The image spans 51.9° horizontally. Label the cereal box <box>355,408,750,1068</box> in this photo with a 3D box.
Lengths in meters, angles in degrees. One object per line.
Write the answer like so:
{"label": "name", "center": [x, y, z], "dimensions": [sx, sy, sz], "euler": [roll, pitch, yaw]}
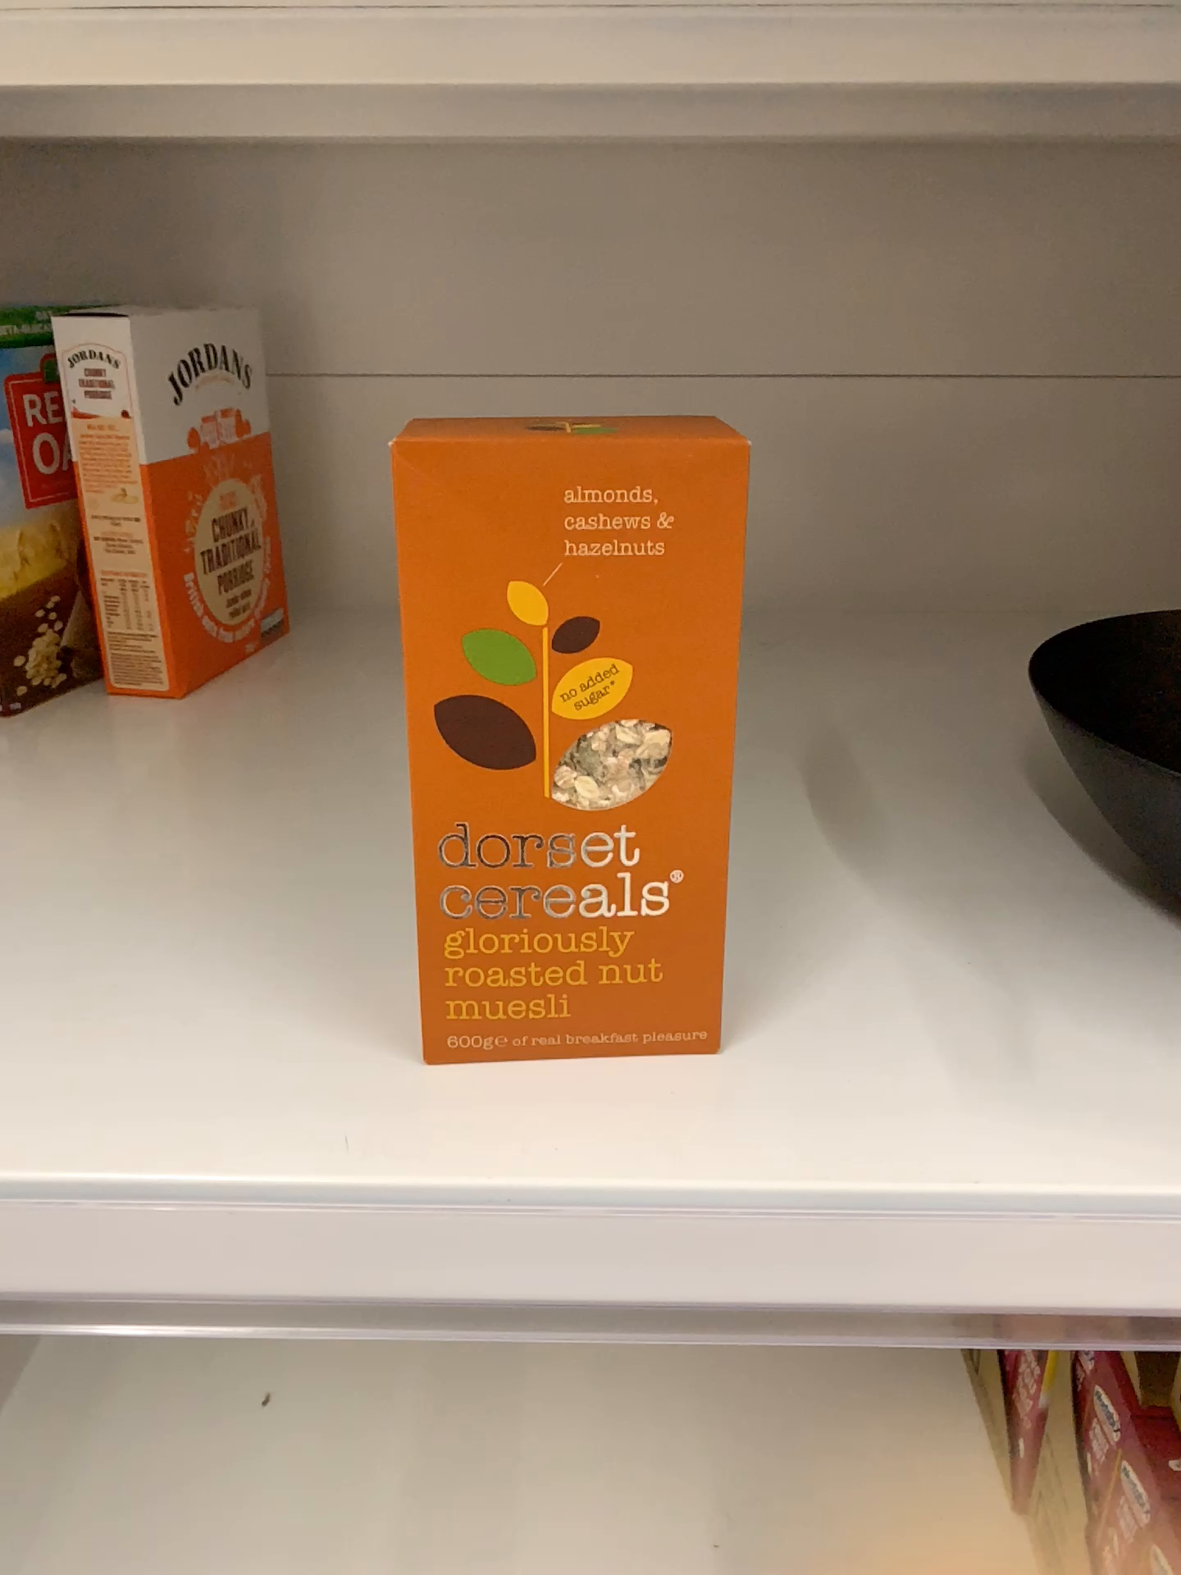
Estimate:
{"label": "cereal box", "center": [-0.013, -0.015, 0.440], "dimensions": [0.120, 0.228, 0.060], "euler": [-1, 22, -4]}
